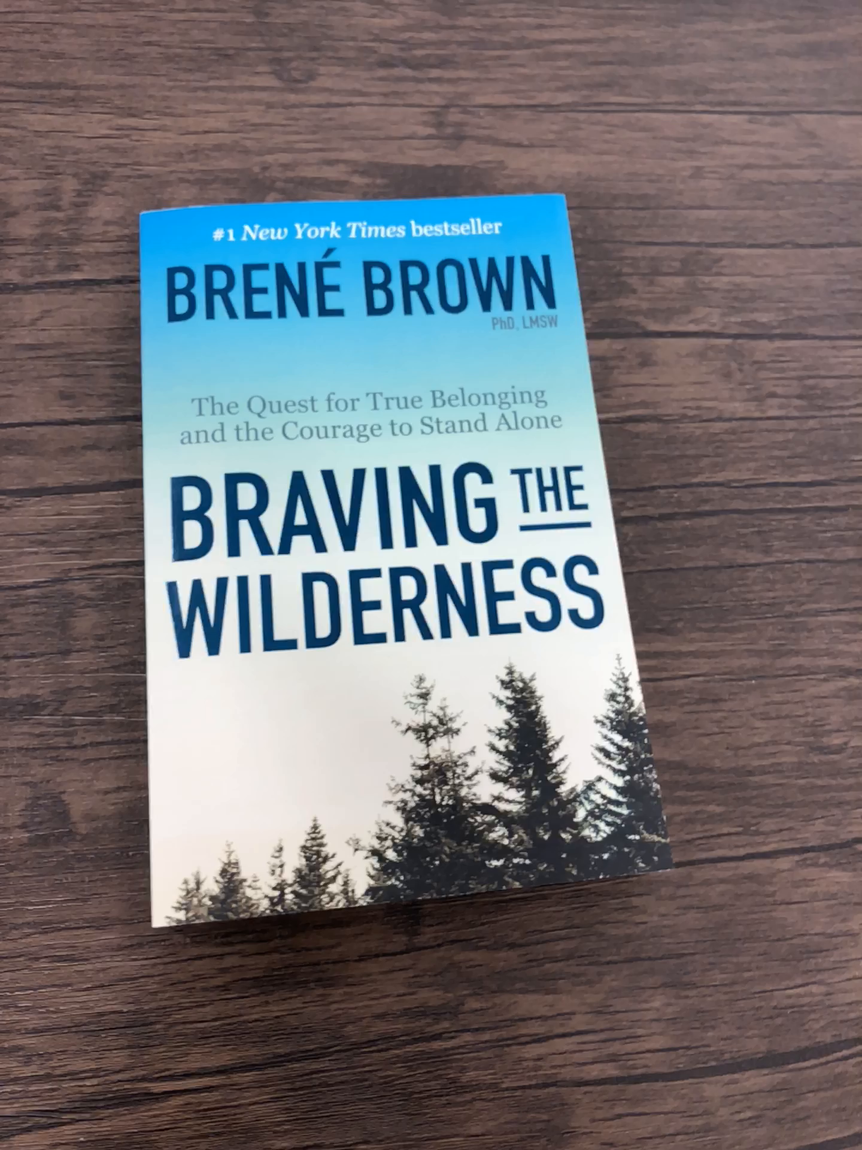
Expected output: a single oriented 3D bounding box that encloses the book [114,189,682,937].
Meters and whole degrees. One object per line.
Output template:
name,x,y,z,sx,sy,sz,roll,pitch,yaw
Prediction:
book,-0.014,-0.012,0.261,0.130,0.021,0.191,-4,75,-6
